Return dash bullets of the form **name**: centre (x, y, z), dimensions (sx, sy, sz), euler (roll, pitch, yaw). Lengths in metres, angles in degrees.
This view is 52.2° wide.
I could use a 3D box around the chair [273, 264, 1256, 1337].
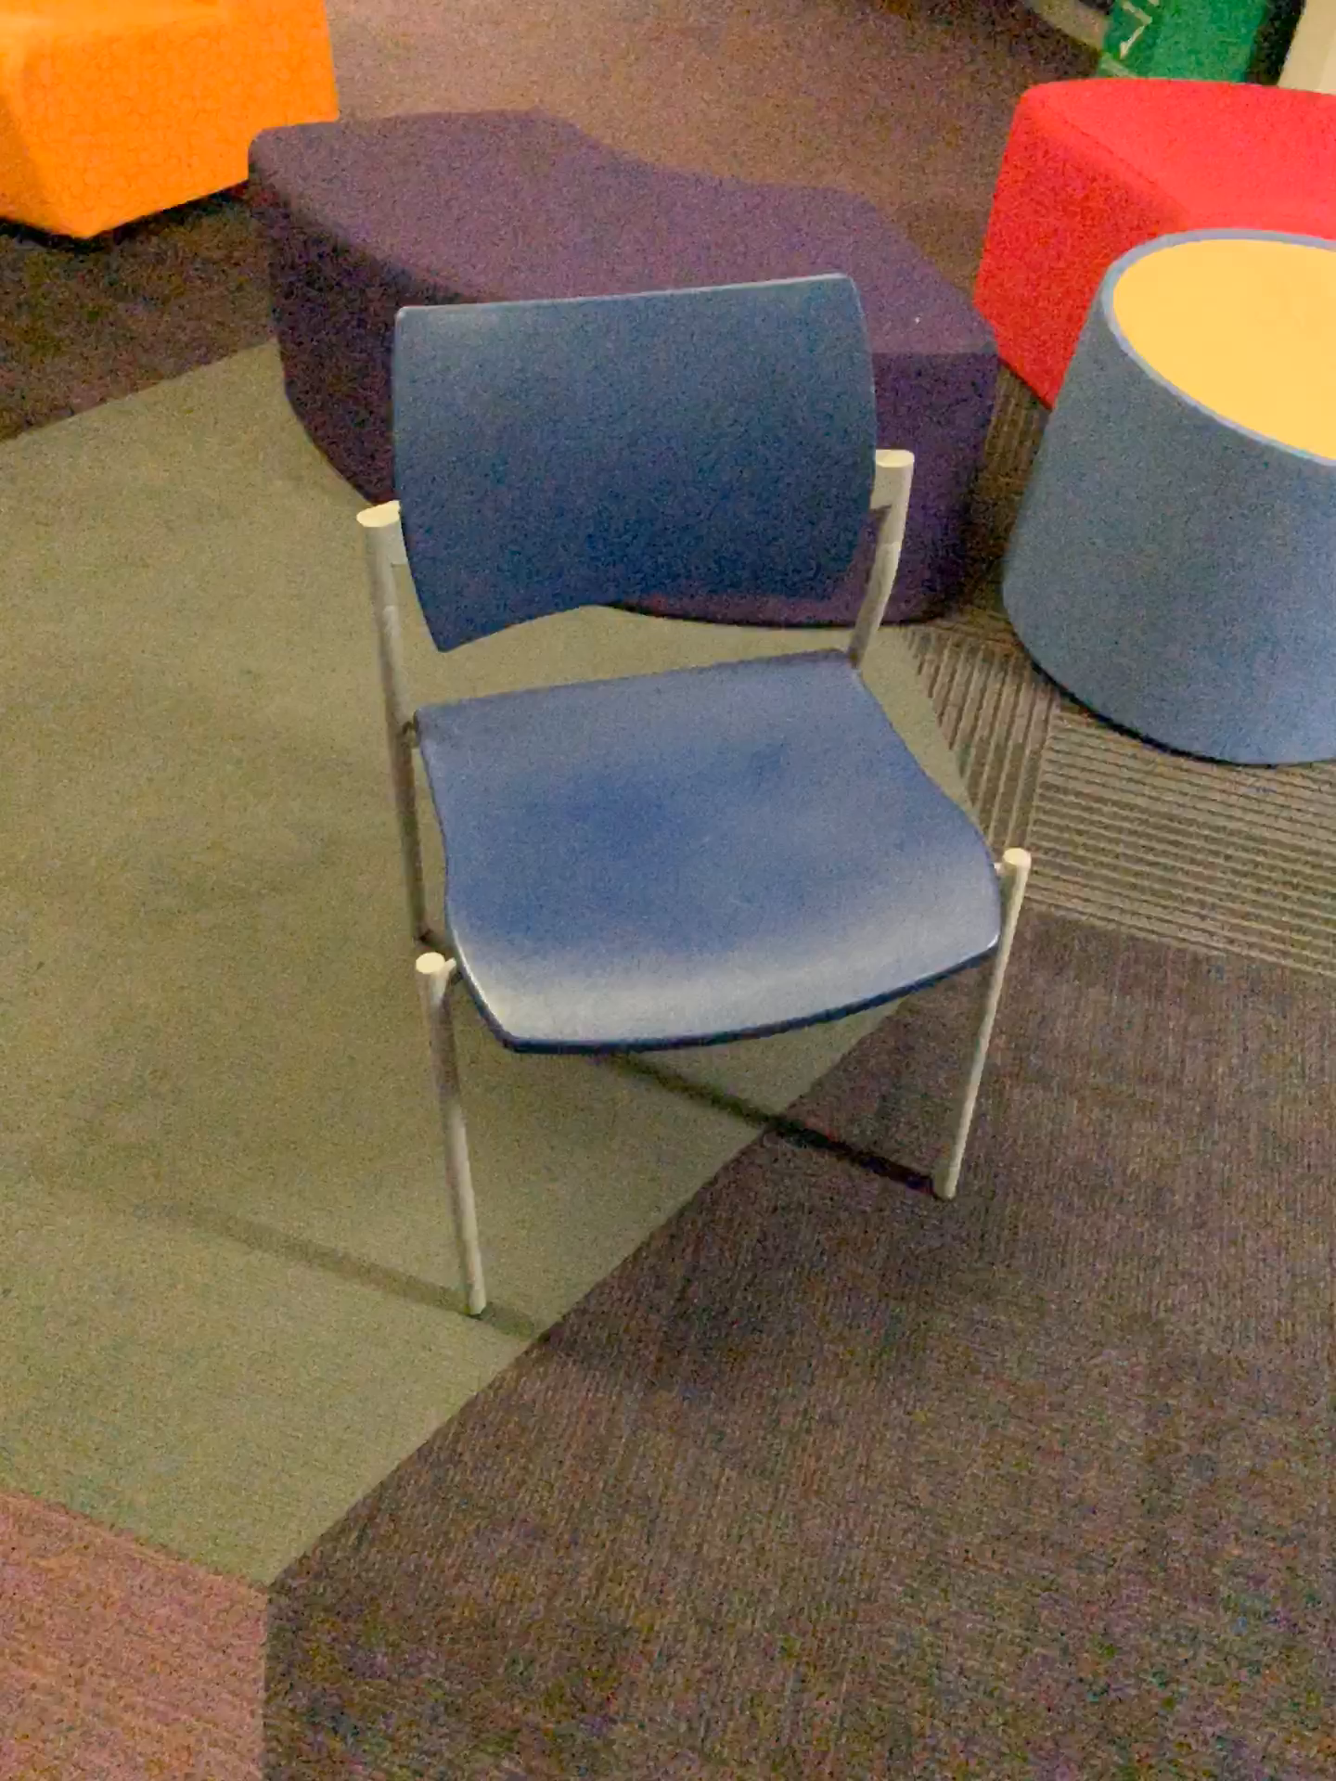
- **chair**: centre (0.009, -0.073, 1.240), dimensions (0.560, 0.694, 0.575), euler (-10, 50, -12)
